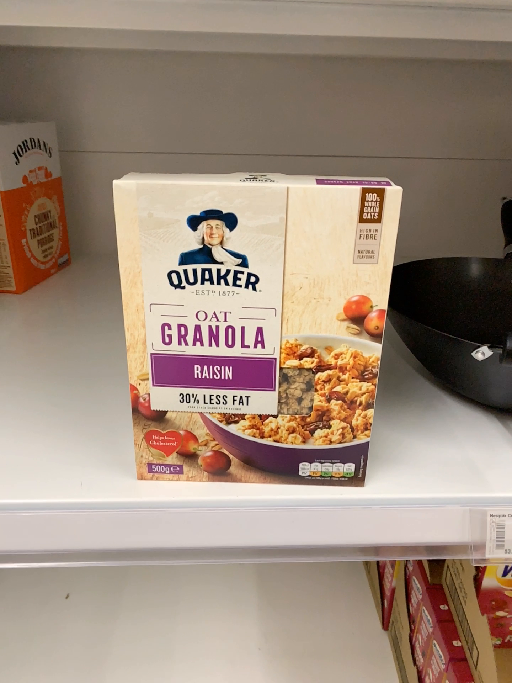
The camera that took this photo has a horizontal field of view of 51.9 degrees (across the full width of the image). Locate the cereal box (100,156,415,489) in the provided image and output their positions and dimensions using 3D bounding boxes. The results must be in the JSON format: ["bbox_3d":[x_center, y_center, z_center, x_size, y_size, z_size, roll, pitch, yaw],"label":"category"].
[{"bbox_3d":[-0.002,-0.008,0.410,0.200,0.248,0.061,2,23,0],"label":"cereal box"}]
